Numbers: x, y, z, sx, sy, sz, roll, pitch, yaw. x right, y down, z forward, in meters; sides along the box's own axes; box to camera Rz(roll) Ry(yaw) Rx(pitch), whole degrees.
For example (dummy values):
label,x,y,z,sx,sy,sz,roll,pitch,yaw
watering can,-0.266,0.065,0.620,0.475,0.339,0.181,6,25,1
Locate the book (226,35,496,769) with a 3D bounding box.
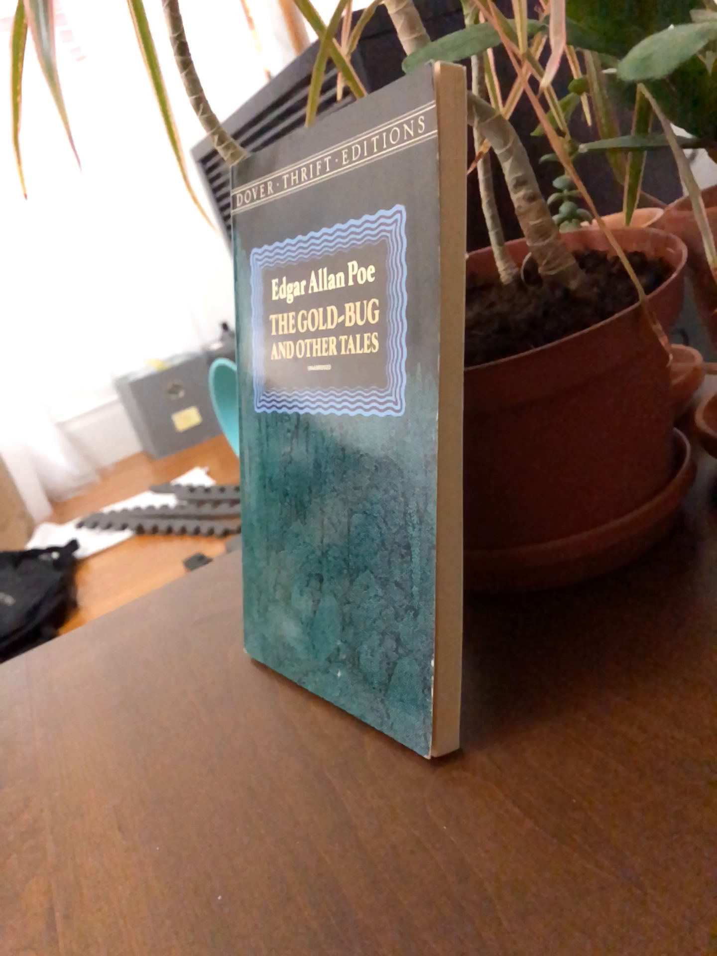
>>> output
label,x,y,z,sx,sy,sz,roll,pitch,yaw
book,-0.009,-0.024,0.293,0.020,0.210,0.140,-3,6,-34
